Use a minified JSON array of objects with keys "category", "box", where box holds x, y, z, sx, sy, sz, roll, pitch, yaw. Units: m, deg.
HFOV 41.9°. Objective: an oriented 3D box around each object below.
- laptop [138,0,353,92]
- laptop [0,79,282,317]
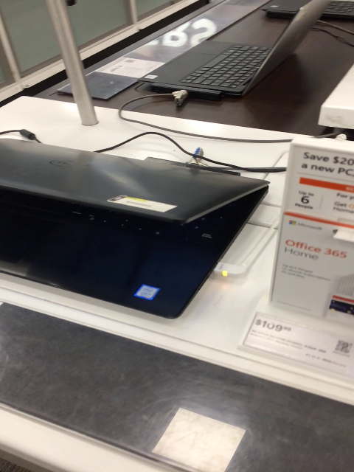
[{"category":"laptop","box":[0.150,-0.438,0.961,0.329,0.159,0.271,16,47,23]},{"category":"laptop","box":[-0.130,-0.074,0.568,0.417,0.107,0.252,15,47,21]}]
